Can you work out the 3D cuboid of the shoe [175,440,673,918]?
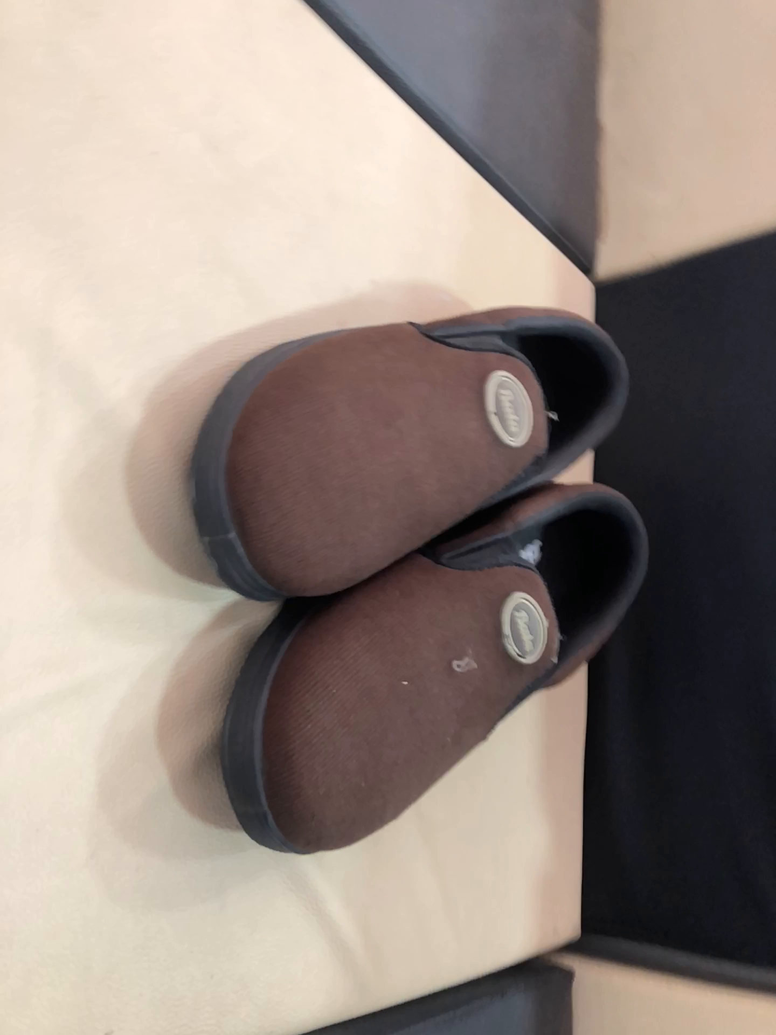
[{"bbox_3d":[0.042,0.048,0.400,0.272,0.079,0.090,-30,109,-49],"label":"shoe"}]

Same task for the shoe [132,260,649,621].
[{"bbox_3d":[0.025,-0.047,0.391,0.252,0.089,0.090,-30,109,-49],"label":"shoe"}]
